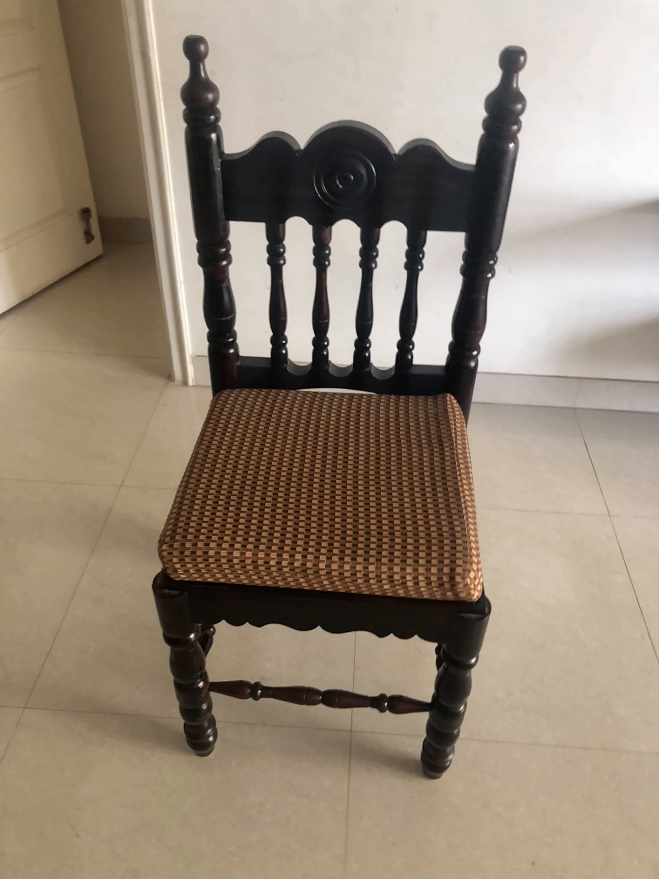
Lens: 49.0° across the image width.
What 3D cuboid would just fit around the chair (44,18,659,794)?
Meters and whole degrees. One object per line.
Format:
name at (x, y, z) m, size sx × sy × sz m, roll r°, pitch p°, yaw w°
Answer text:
chair at (0.029, -0.010, 1.115) m, size 0.500 × 1.022 × 0.564 m, roll 4°, pitch 38°, yaw 3°
